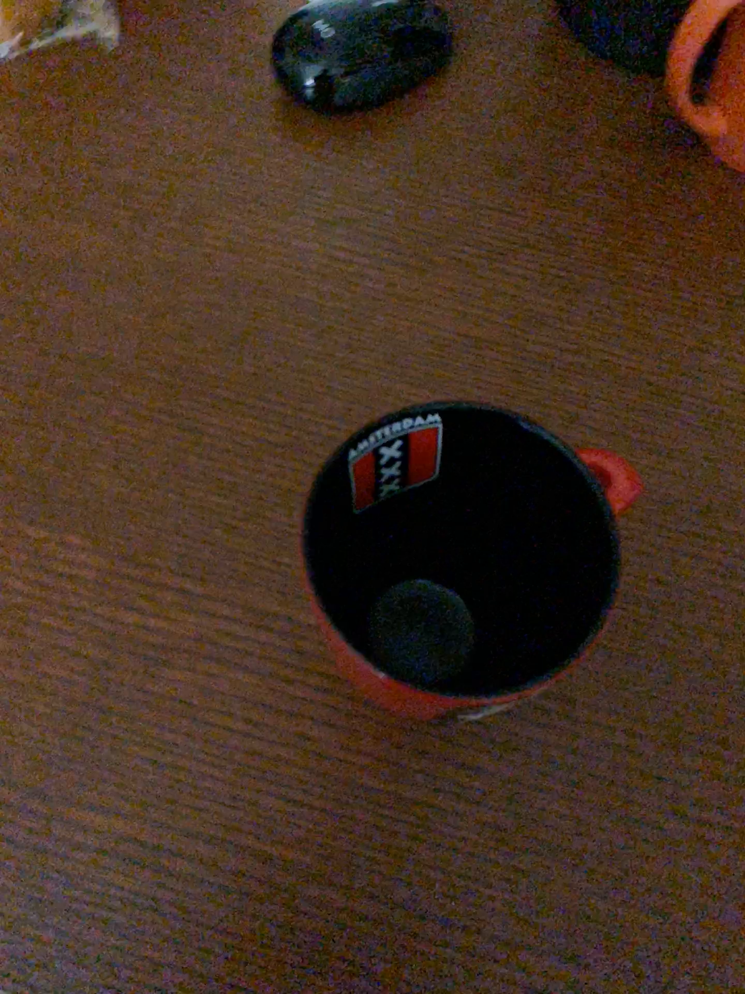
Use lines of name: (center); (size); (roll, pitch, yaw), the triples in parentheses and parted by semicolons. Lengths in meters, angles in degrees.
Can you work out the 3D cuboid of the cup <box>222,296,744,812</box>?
cup: (0.036, 0.023, 0.247); (0.130, 0.100, 0.090); (-25, 69, -14)
